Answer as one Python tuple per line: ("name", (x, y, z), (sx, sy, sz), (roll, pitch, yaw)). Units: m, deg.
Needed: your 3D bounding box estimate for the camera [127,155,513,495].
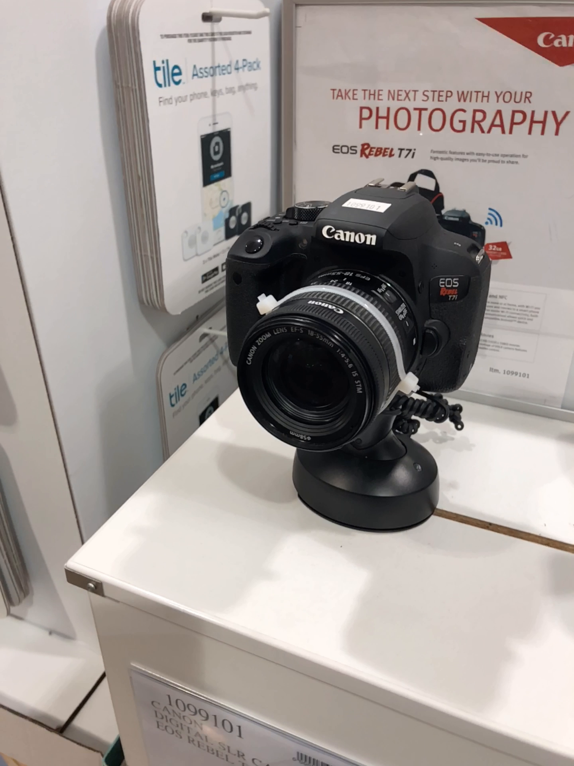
("camera", (0.021, -0.040, 0.301), (0.130, 0.100, 0.120), (14, 32, 23))
